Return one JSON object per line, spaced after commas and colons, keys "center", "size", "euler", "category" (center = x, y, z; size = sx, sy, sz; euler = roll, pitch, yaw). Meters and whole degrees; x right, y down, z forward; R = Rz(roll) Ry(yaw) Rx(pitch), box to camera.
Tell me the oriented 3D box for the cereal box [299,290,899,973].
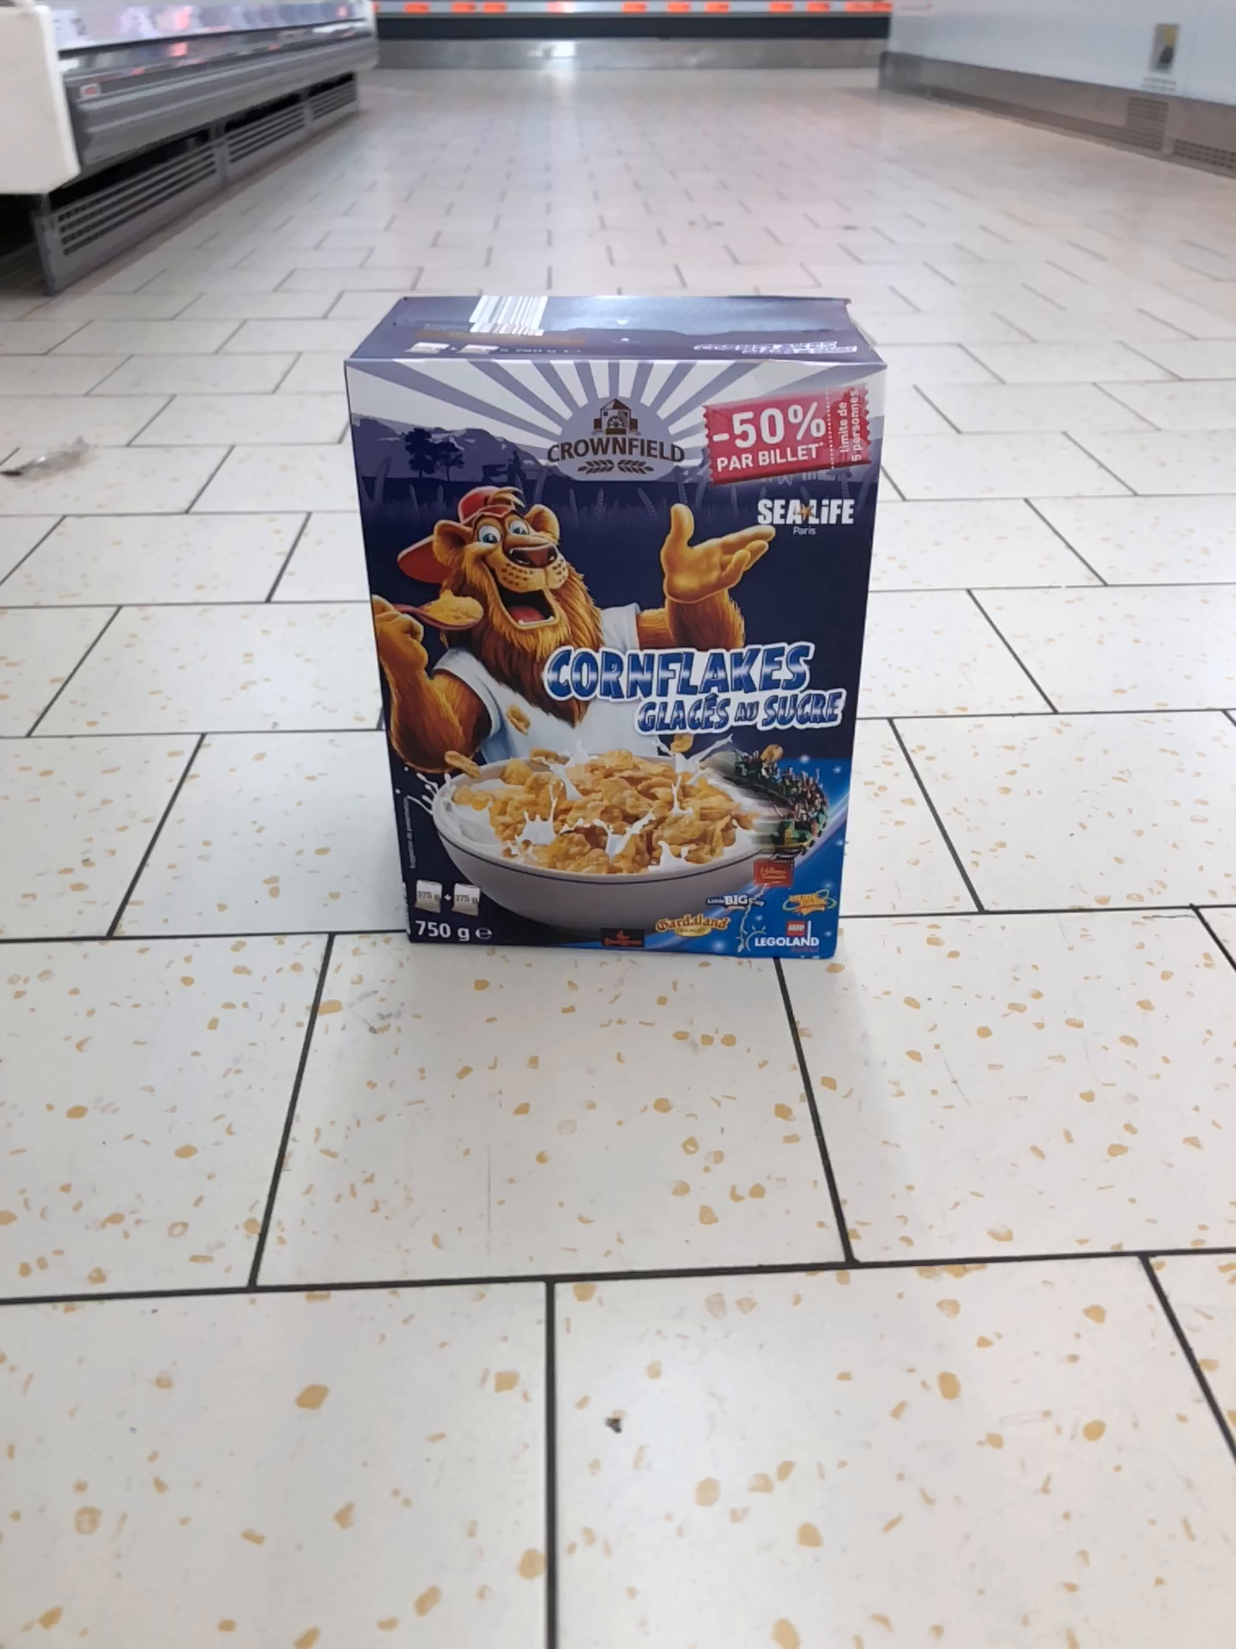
{"center": [-0.003, -0.084, 0.593], "size": [0.210, 0.259, 0.131], "euler": [2, 30, 4], "category": "cereal box"}
